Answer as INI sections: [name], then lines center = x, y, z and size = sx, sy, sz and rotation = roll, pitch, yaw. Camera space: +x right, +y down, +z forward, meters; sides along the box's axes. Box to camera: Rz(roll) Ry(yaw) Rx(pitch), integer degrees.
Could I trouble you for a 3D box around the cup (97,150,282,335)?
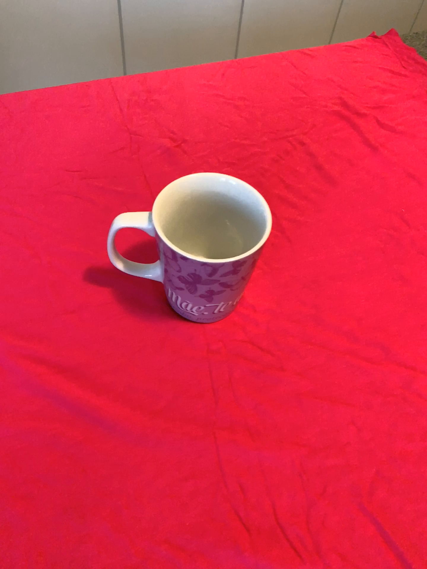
[cup]
center = -0.017, -0.027, 0.323
size = 0.110, 0.100, 0.080
rotation = 5, 55, -3
